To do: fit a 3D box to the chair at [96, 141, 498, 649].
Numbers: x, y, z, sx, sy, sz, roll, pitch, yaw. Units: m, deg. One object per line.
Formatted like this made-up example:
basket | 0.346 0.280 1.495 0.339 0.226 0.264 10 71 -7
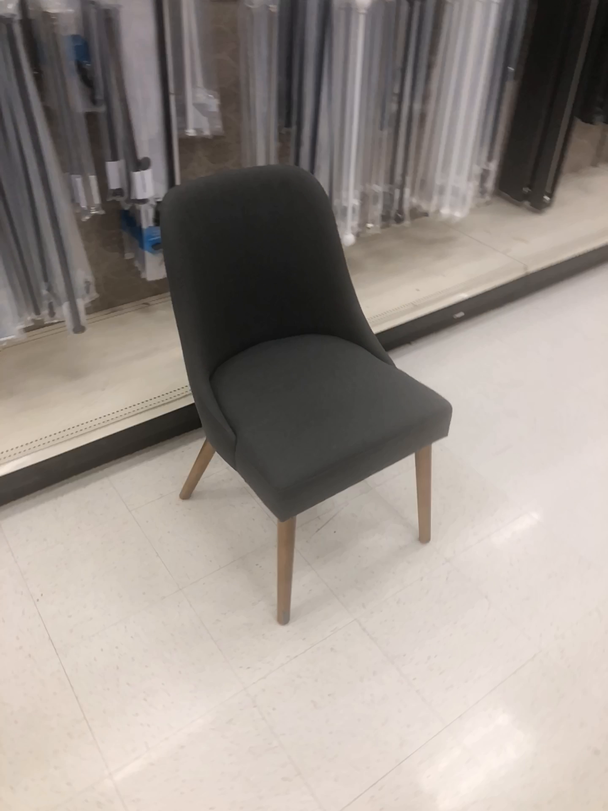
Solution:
chair | -0.041 -0.038 1.515 0.515 0.859 0.588 -23 44 -27
